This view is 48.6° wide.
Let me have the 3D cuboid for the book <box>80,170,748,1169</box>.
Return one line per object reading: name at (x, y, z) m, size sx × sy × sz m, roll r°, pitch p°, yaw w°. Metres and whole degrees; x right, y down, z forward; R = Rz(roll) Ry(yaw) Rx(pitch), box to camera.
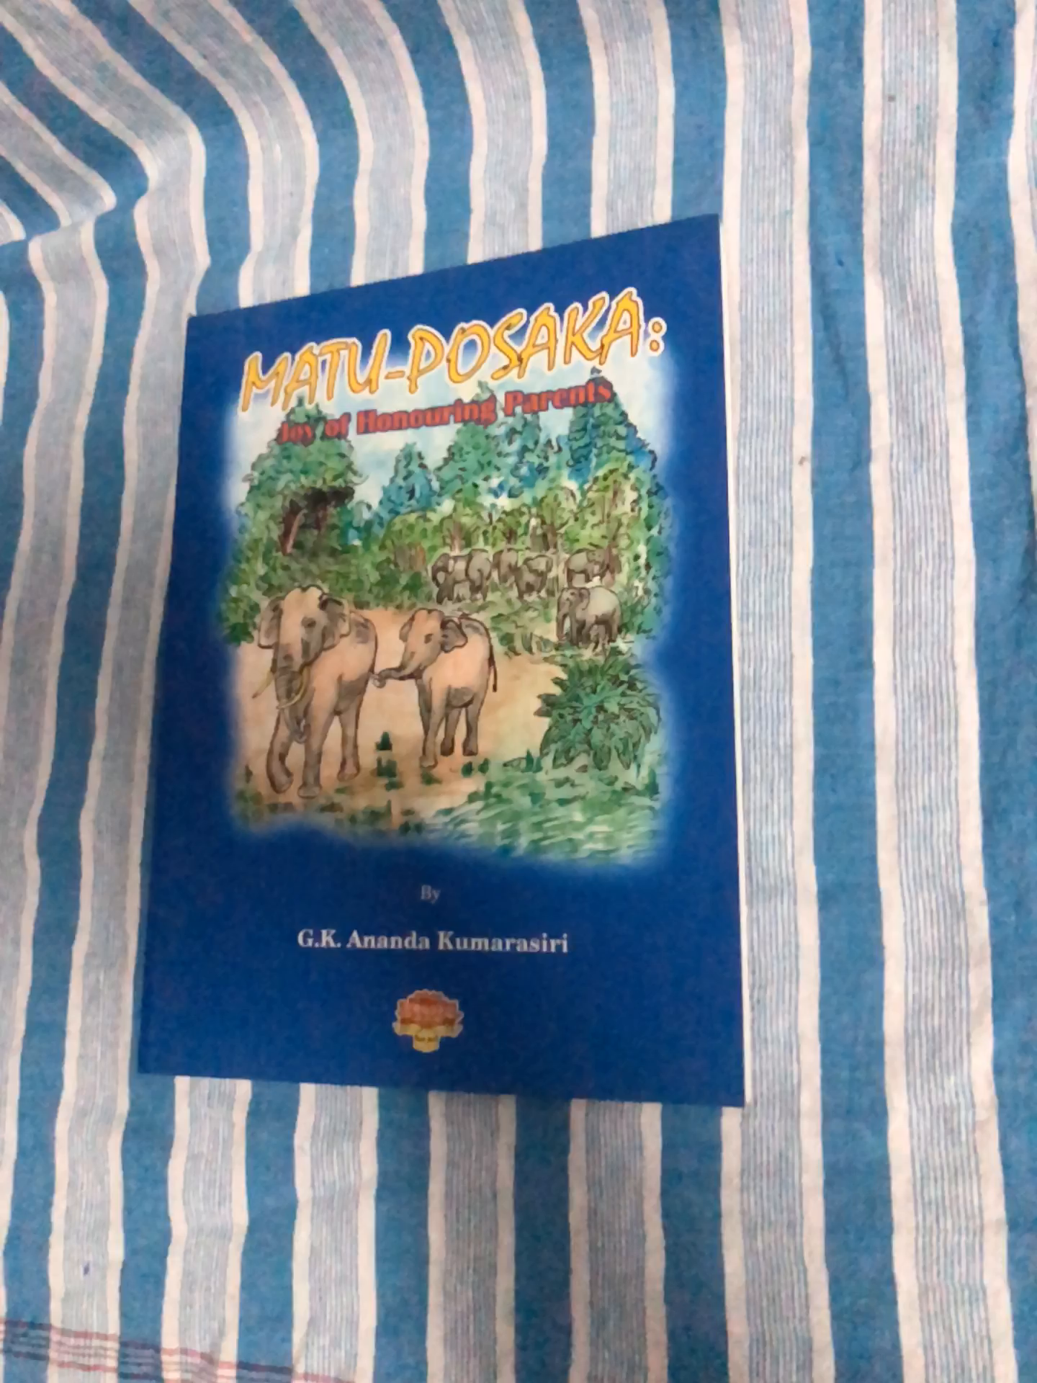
book at (-0.029, -0.008, 0.299) m, size 0.170 × 0.020 × 0.230 m, roll -3°, pitch 79°, yaw 21°
